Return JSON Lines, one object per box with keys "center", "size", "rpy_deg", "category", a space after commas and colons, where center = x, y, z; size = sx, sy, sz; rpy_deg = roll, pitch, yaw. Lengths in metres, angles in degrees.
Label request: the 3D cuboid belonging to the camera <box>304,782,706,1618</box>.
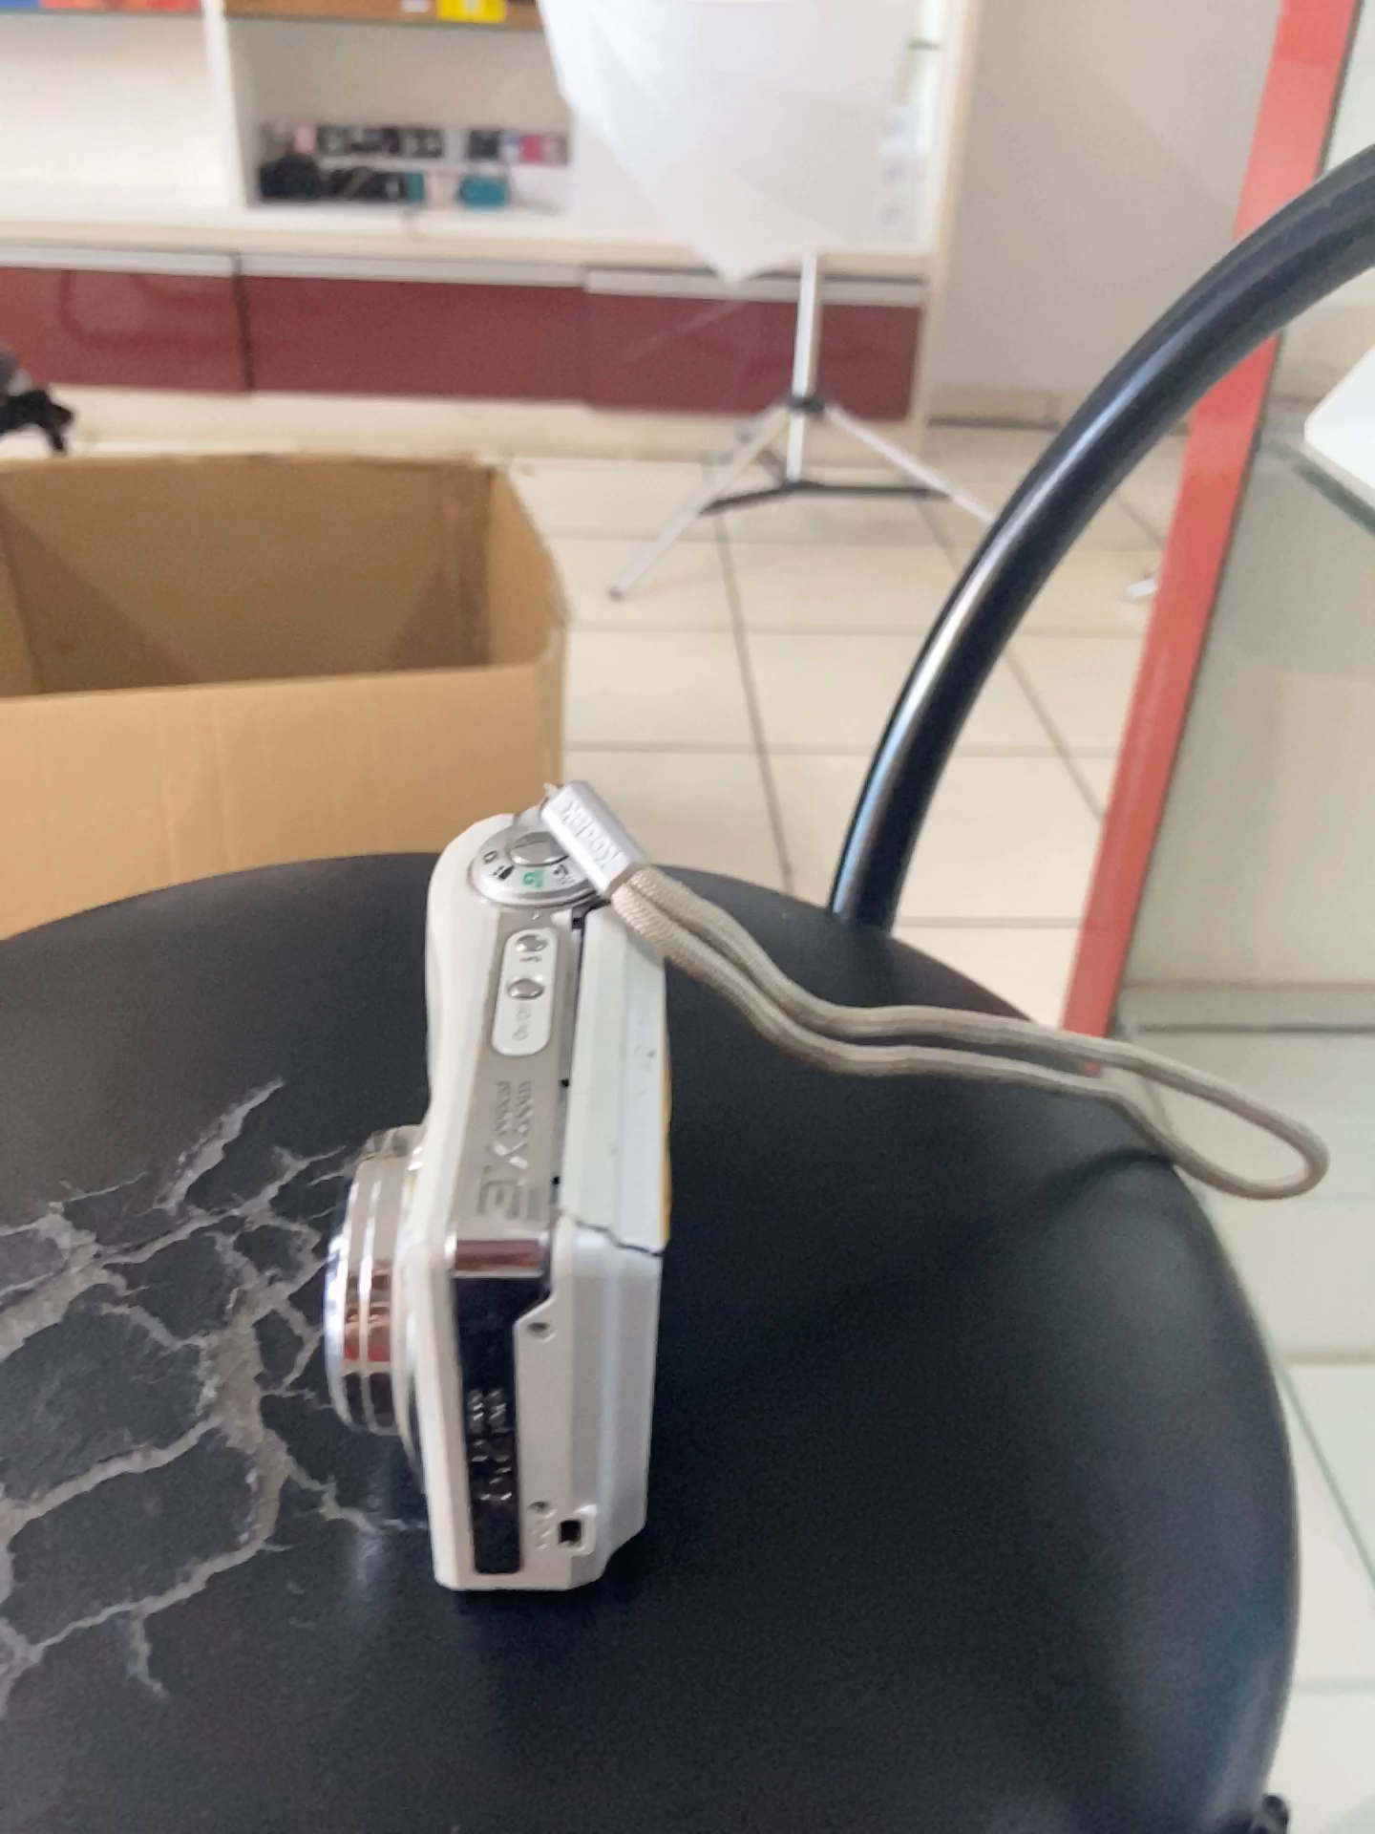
{"center": [-0.023, 0.034, 0.200], "size": [0.040, 0.070, 0.091], "rpy_deg": [0, 33, -5], "category": "camera"}
